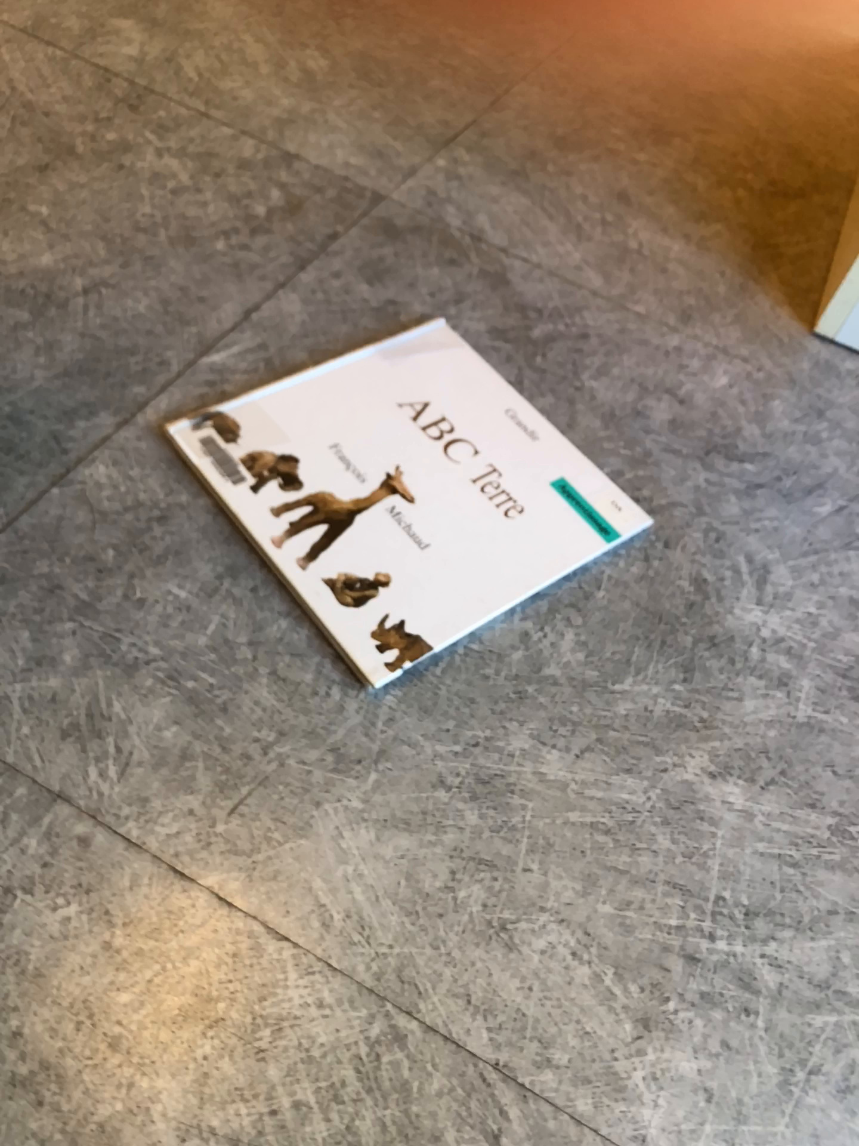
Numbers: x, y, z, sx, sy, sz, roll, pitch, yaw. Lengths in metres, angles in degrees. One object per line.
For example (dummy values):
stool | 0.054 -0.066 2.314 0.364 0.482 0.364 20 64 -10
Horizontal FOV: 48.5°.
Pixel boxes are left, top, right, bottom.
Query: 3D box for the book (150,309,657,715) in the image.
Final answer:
book | -0.013 -0.050 0.521 0.195 0.020 0.200 -29 64 -29
